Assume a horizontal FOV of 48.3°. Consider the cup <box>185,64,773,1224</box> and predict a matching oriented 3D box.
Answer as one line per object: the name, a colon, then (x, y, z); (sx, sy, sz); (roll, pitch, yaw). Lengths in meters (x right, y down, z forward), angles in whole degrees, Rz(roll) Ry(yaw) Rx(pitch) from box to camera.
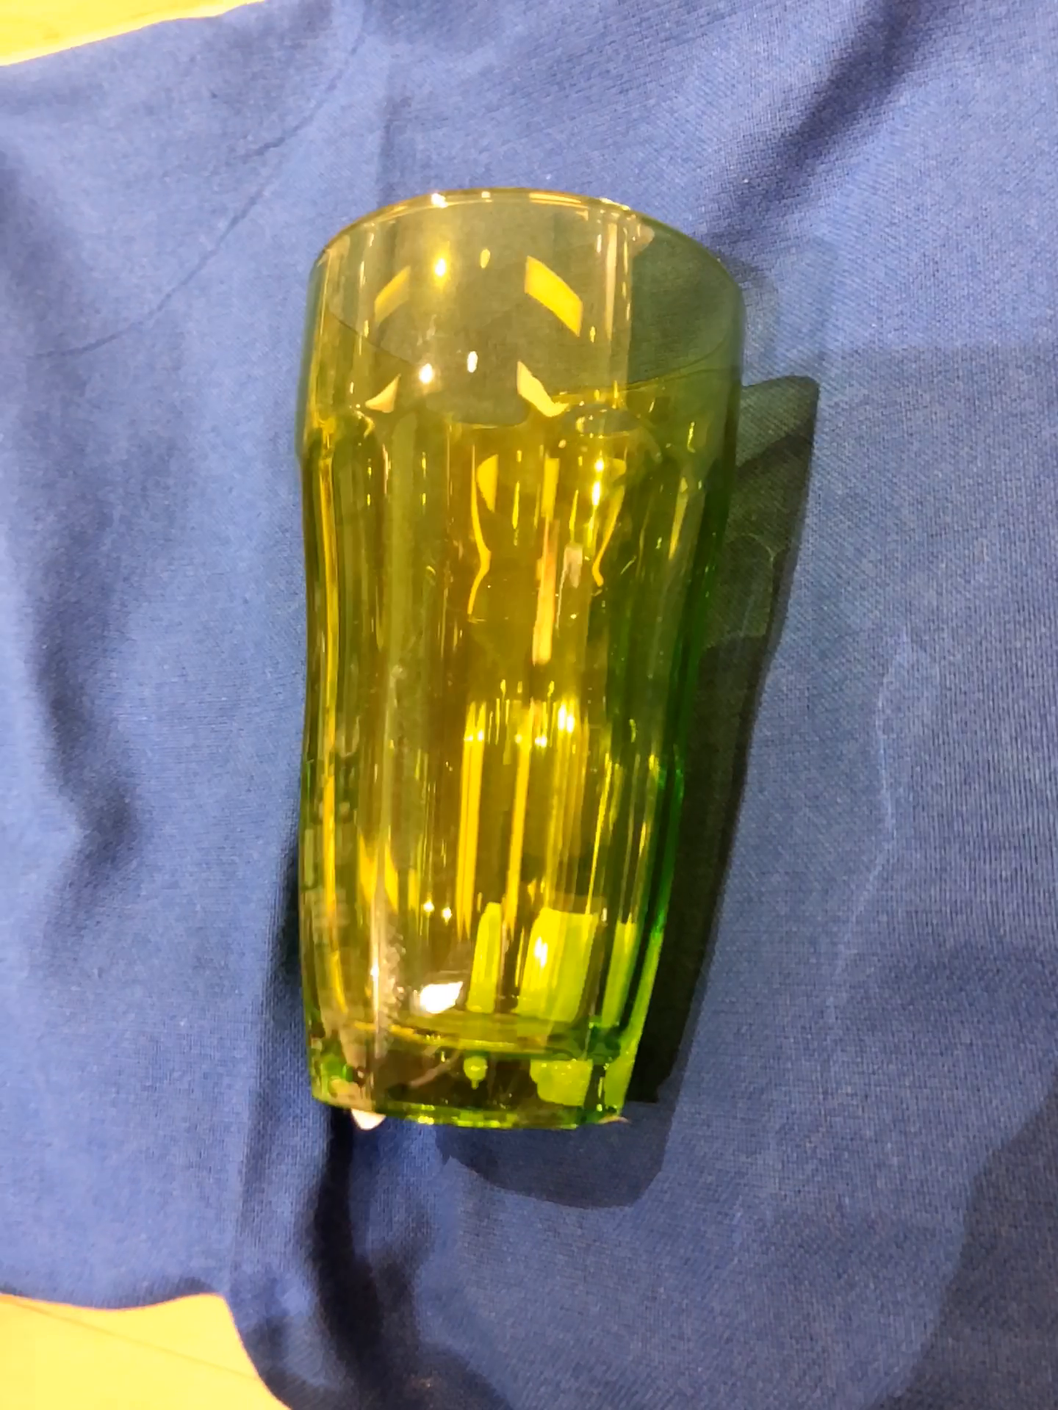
cup: (0.000, -0.008, 0.202); (0.070, 0.070, 0.160); (-2, 77, 22)
